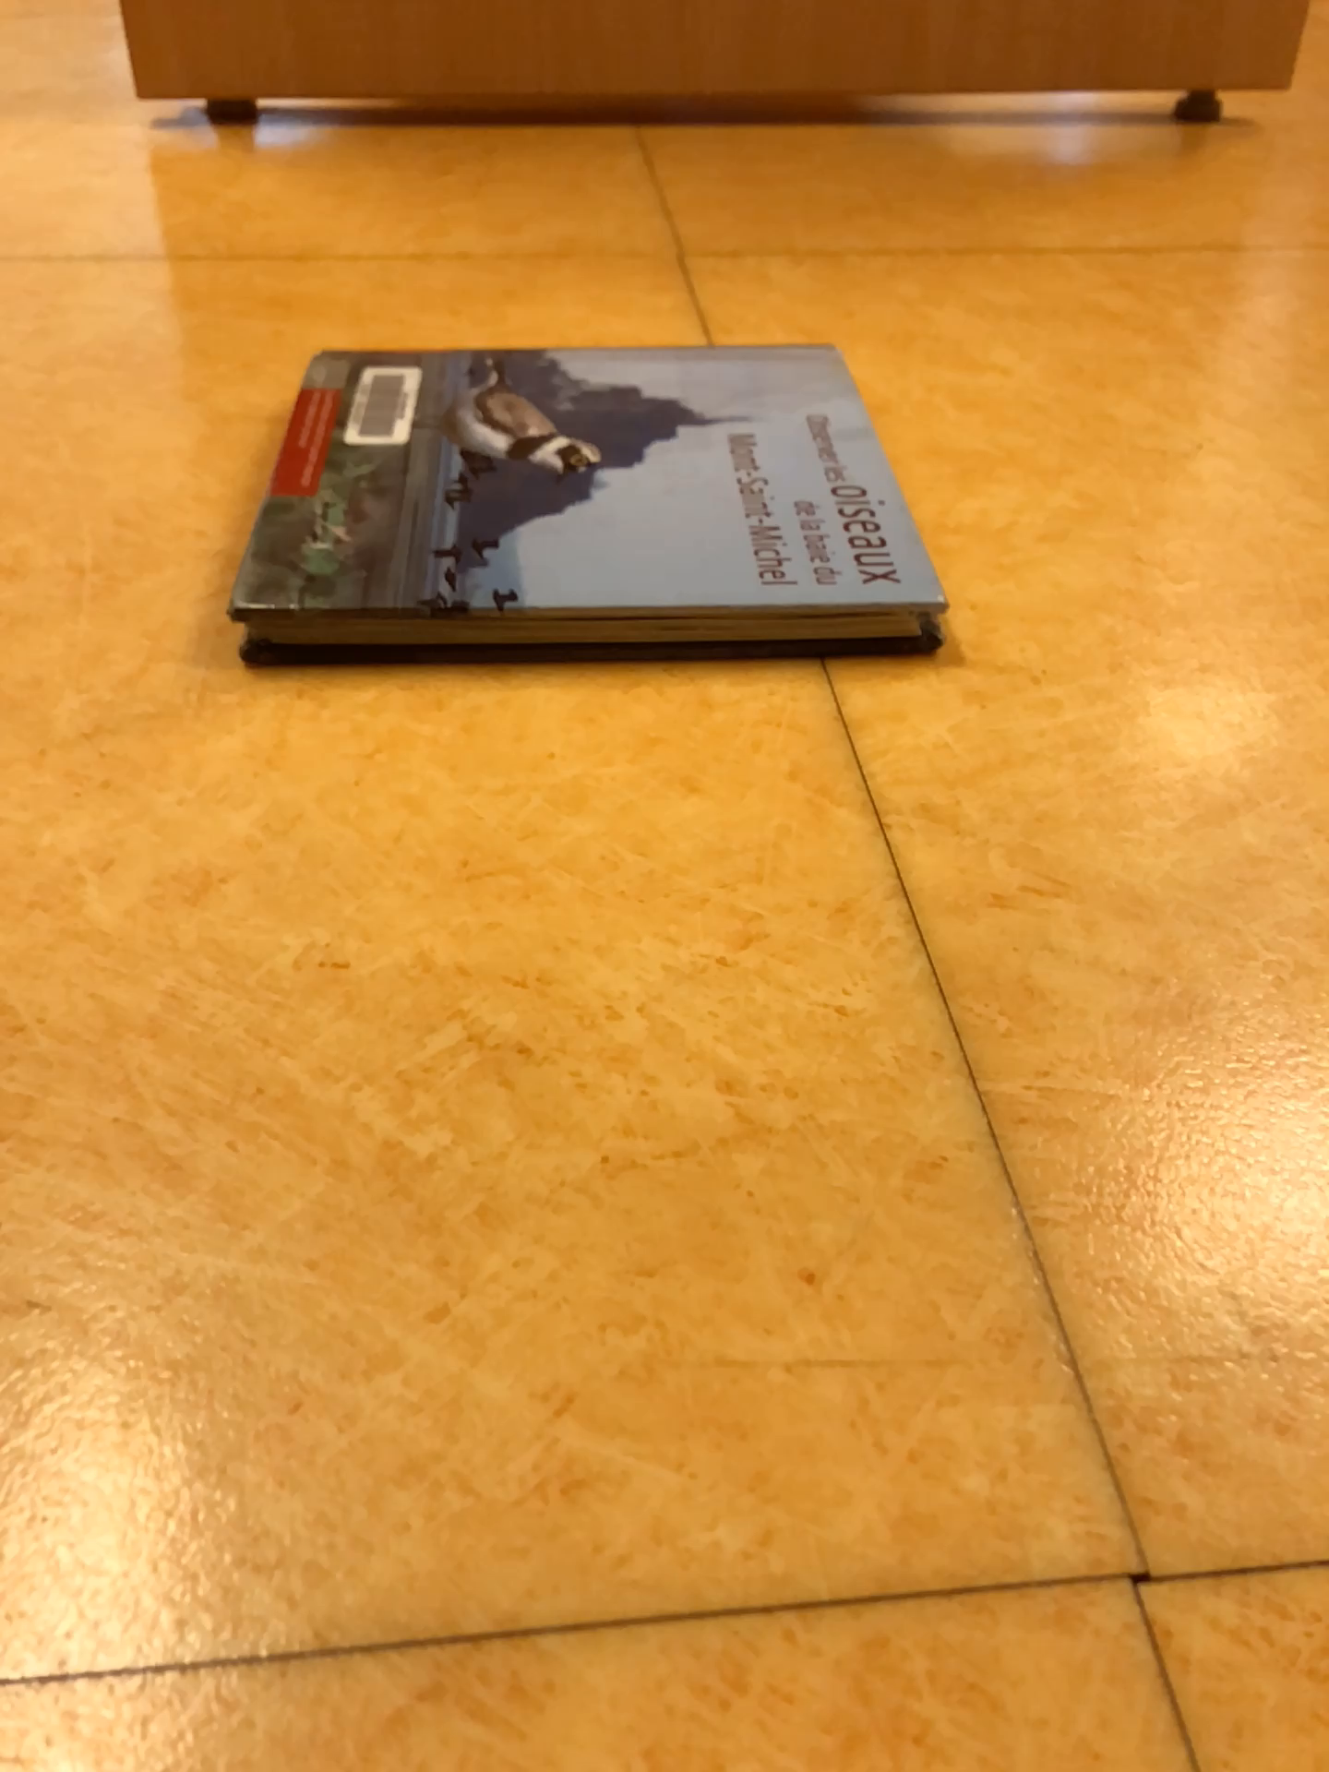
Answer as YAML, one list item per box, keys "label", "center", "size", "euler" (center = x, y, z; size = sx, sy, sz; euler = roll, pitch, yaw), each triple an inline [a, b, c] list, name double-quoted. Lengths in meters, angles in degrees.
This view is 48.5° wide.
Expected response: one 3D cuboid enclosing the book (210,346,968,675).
- label: "book"
  center: [-0.019, -0.100, 0.368]
  size: [0.156, 0.015, 0.154]
  euler: [-1, 39, -4]
